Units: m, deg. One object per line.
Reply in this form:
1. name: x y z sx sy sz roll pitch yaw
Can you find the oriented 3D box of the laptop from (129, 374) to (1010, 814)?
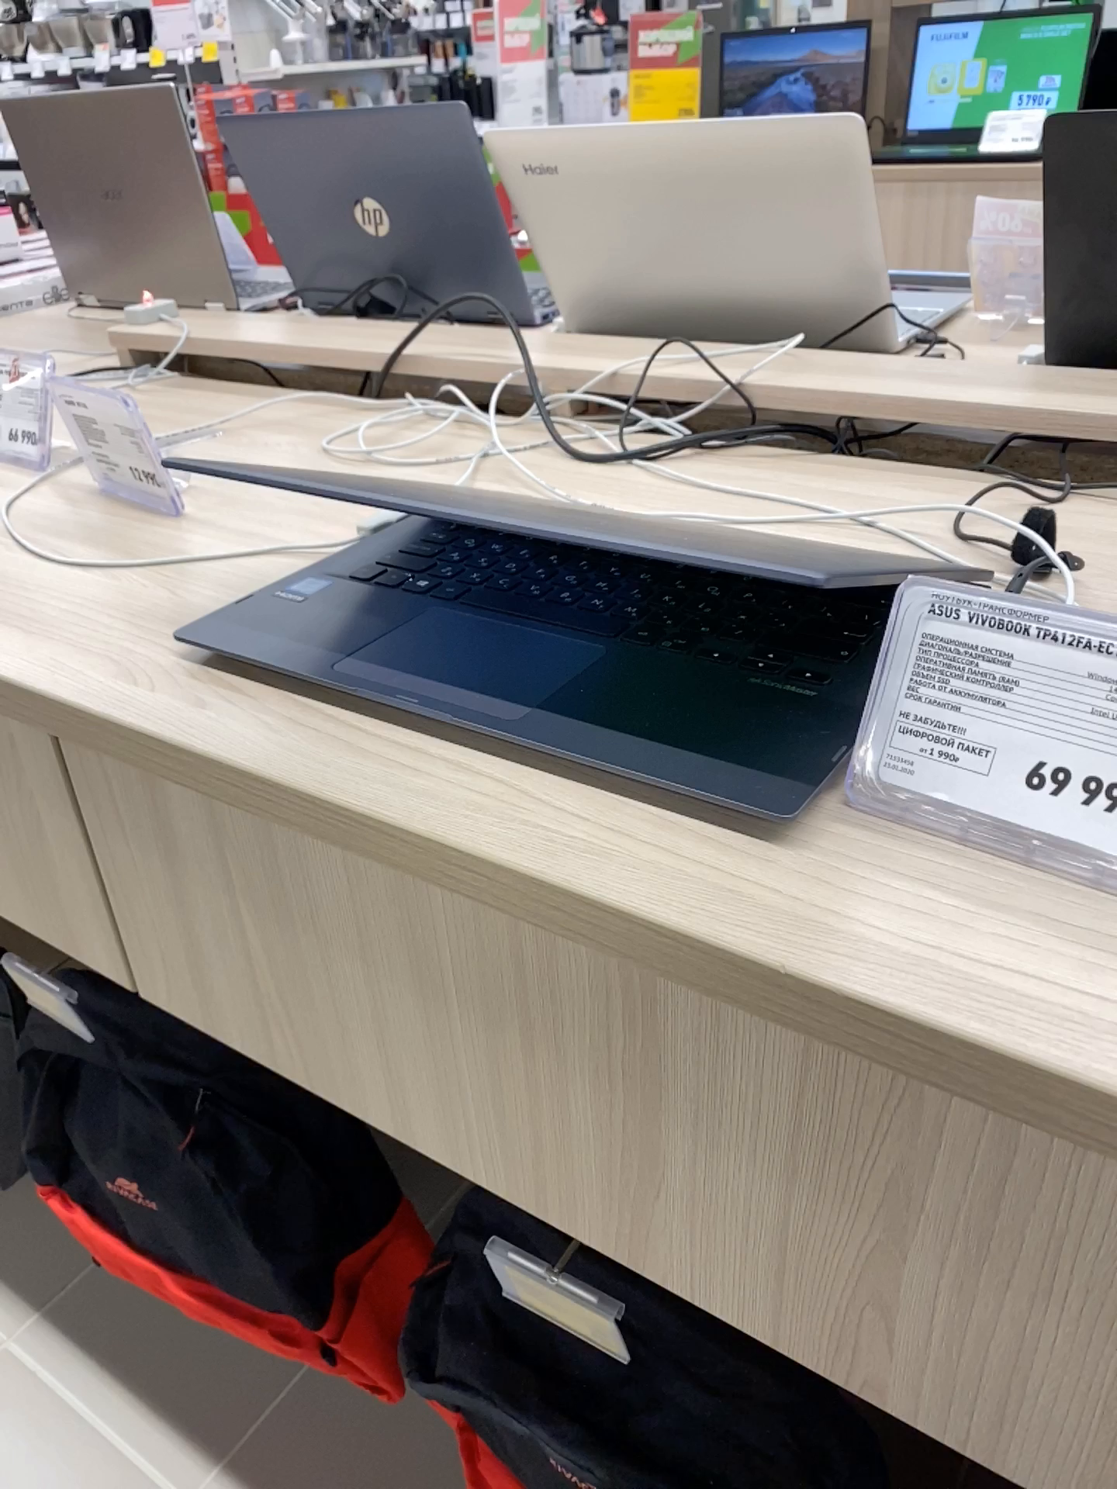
1. laptop: 0.005 -0.099 0.538 0.330 0.079 0.226 16 35 31
